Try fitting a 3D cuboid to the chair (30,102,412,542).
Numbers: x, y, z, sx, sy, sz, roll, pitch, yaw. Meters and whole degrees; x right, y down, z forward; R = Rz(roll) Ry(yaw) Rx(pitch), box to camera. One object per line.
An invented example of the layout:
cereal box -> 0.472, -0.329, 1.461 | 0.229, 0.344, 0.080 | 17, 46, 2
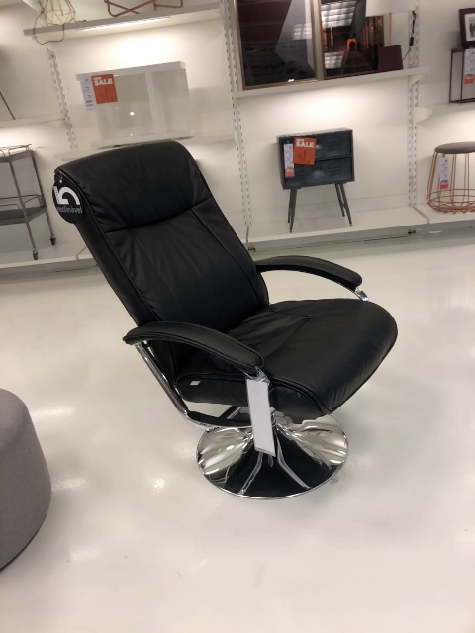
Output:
chair -> 0.018, -0.077, 1.655 | 0.802, 0.993, 0.733 | 11, 29, 37
